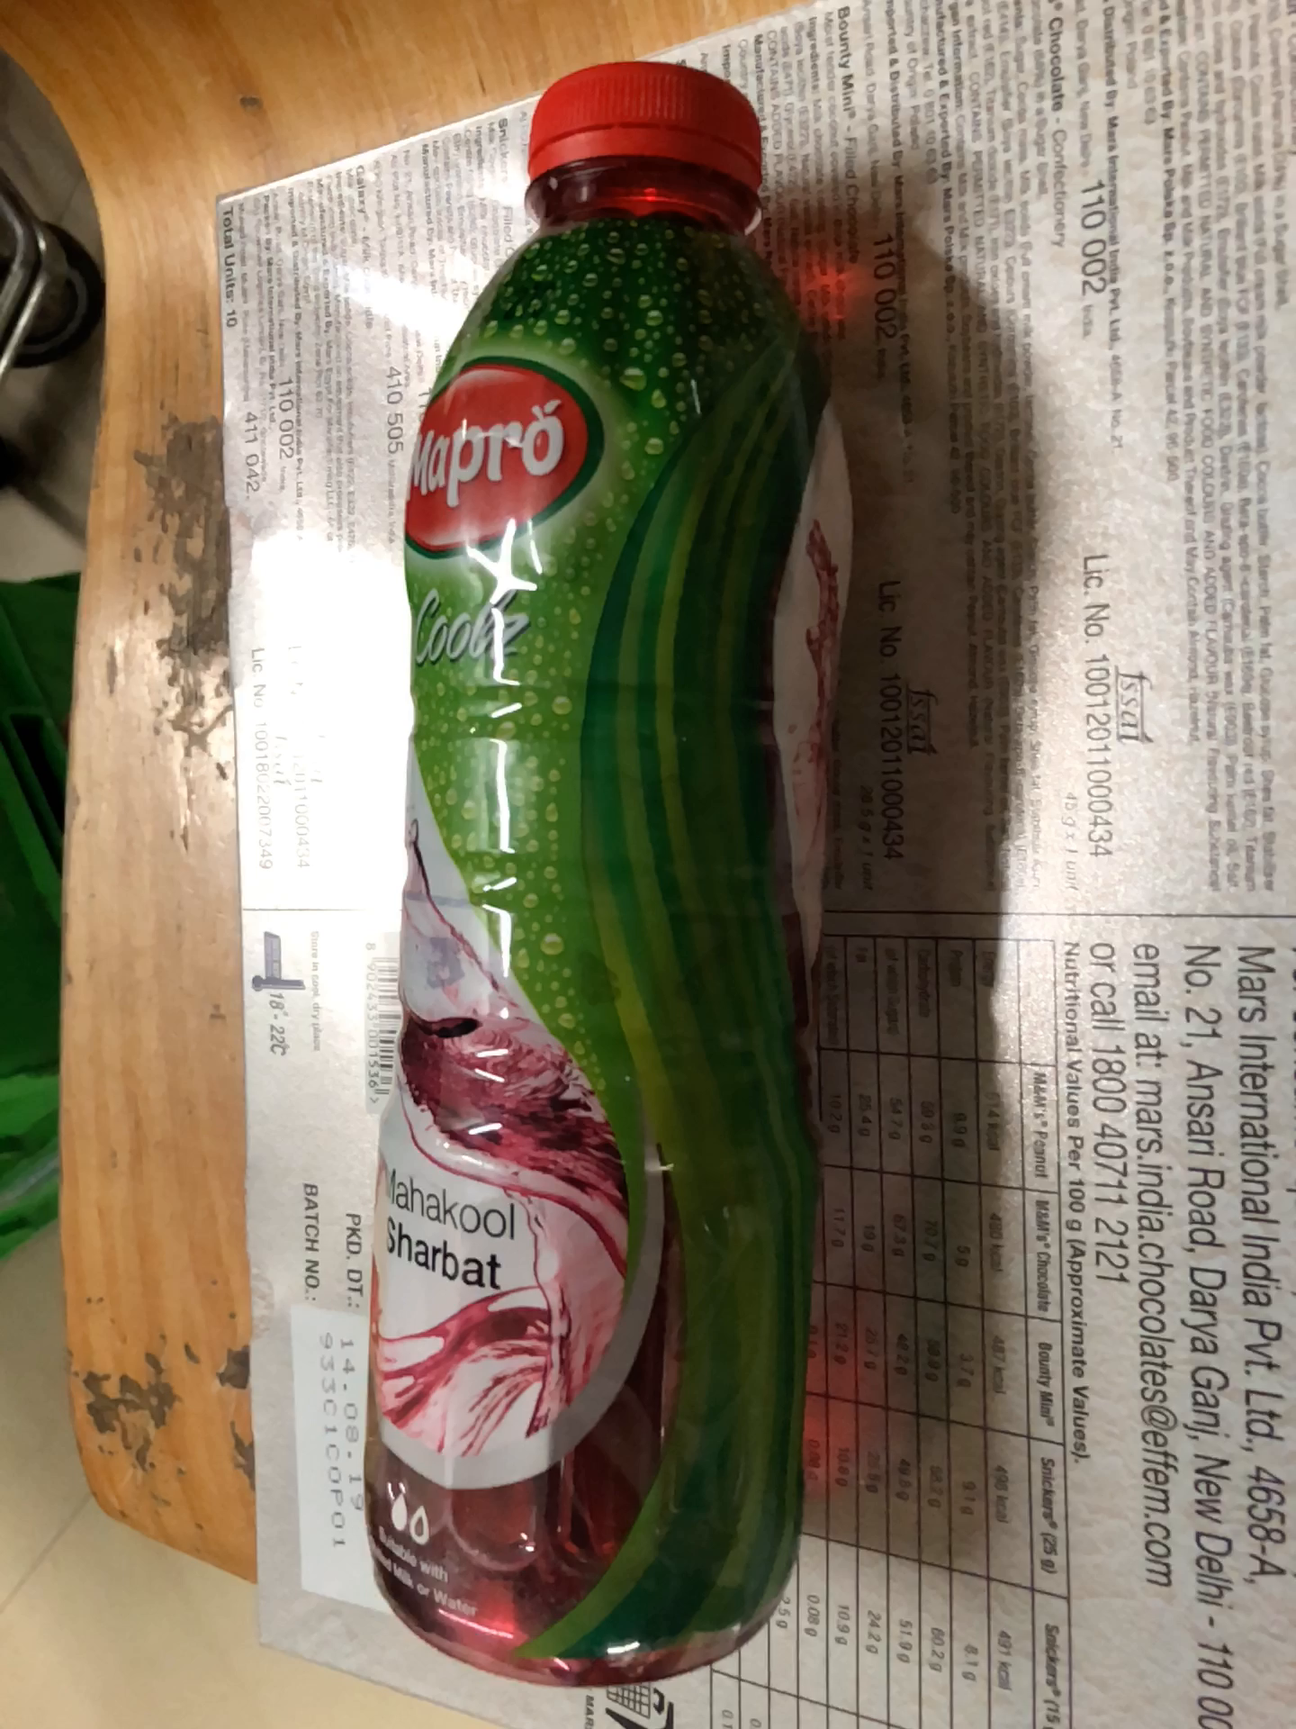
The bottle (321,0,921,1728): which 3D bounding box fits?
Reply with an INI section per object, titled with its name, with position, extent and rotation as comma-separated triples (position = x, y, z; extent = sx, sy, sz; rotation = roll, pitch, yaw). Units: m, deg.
[bottle]
position = -0.008, 0.002, 0.255
extent = 0.080, 0.060, 0.280
rotation = 5, 96, 42
